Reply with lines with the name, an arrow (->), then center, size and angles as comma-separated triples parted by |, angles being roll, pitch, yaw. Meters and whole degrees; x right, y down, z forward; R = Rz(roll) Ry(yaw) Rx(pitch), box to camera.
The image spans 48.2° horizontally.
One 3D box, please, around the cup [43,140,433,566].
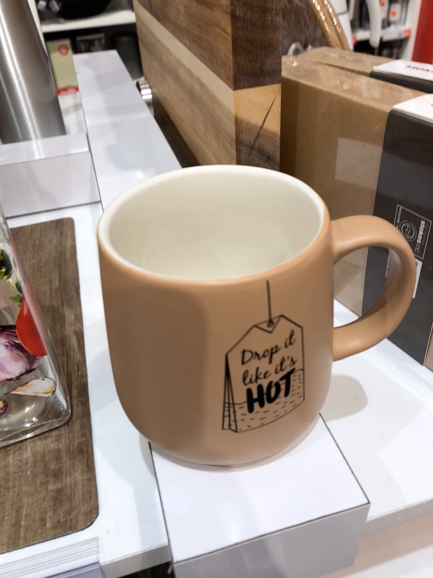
cup -> 0.014, 0.011, 0.176 | 0.110, 0.080, 0.090 | -22, 42, -22
